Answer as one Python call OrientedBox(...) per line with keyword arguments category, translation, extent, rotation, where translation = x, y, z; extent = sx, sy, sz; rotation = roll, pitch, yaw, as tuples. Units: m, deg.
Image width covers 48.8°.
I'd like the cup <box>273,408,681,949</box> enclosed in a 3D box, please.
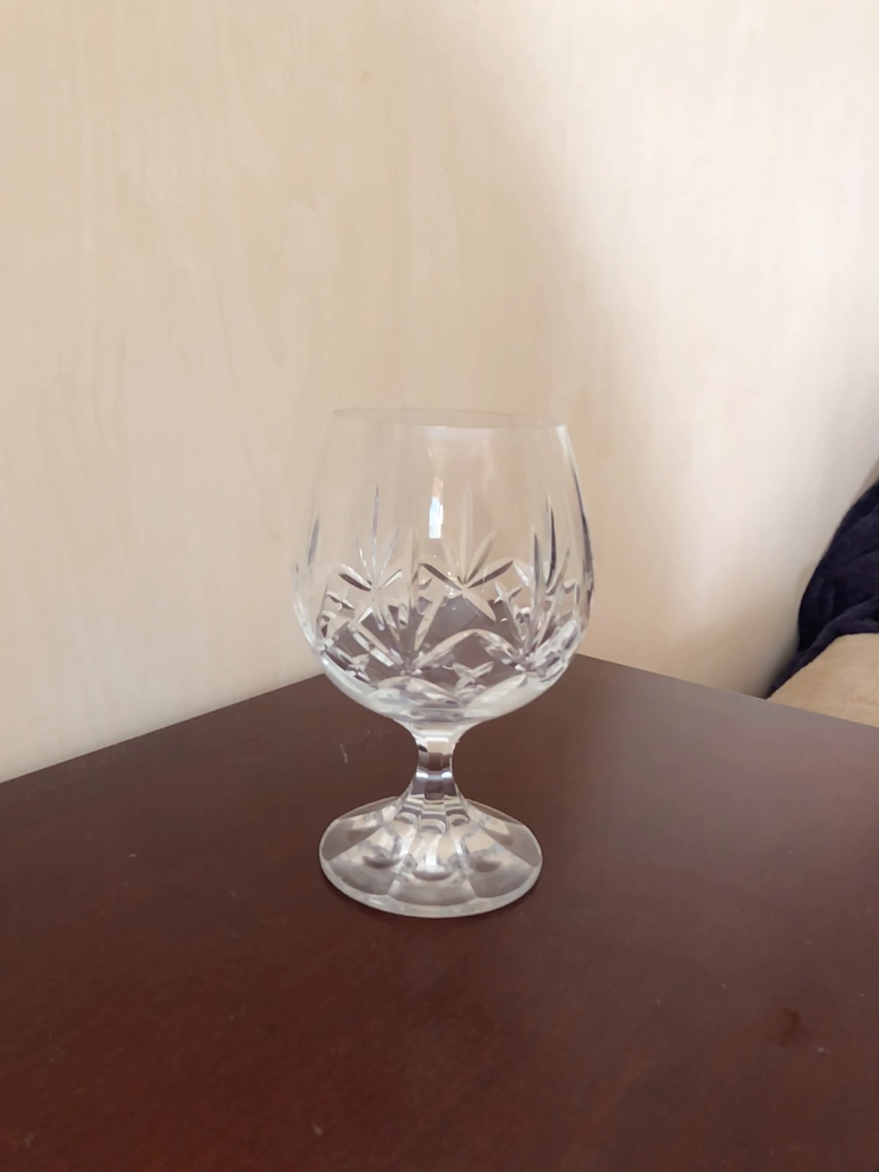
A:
OrientedBox(category="cup", translation=(0.003, 0.015, 0.277), extent=(0.088, 0.126, 0.089), rotation=(1, 12, 0))
